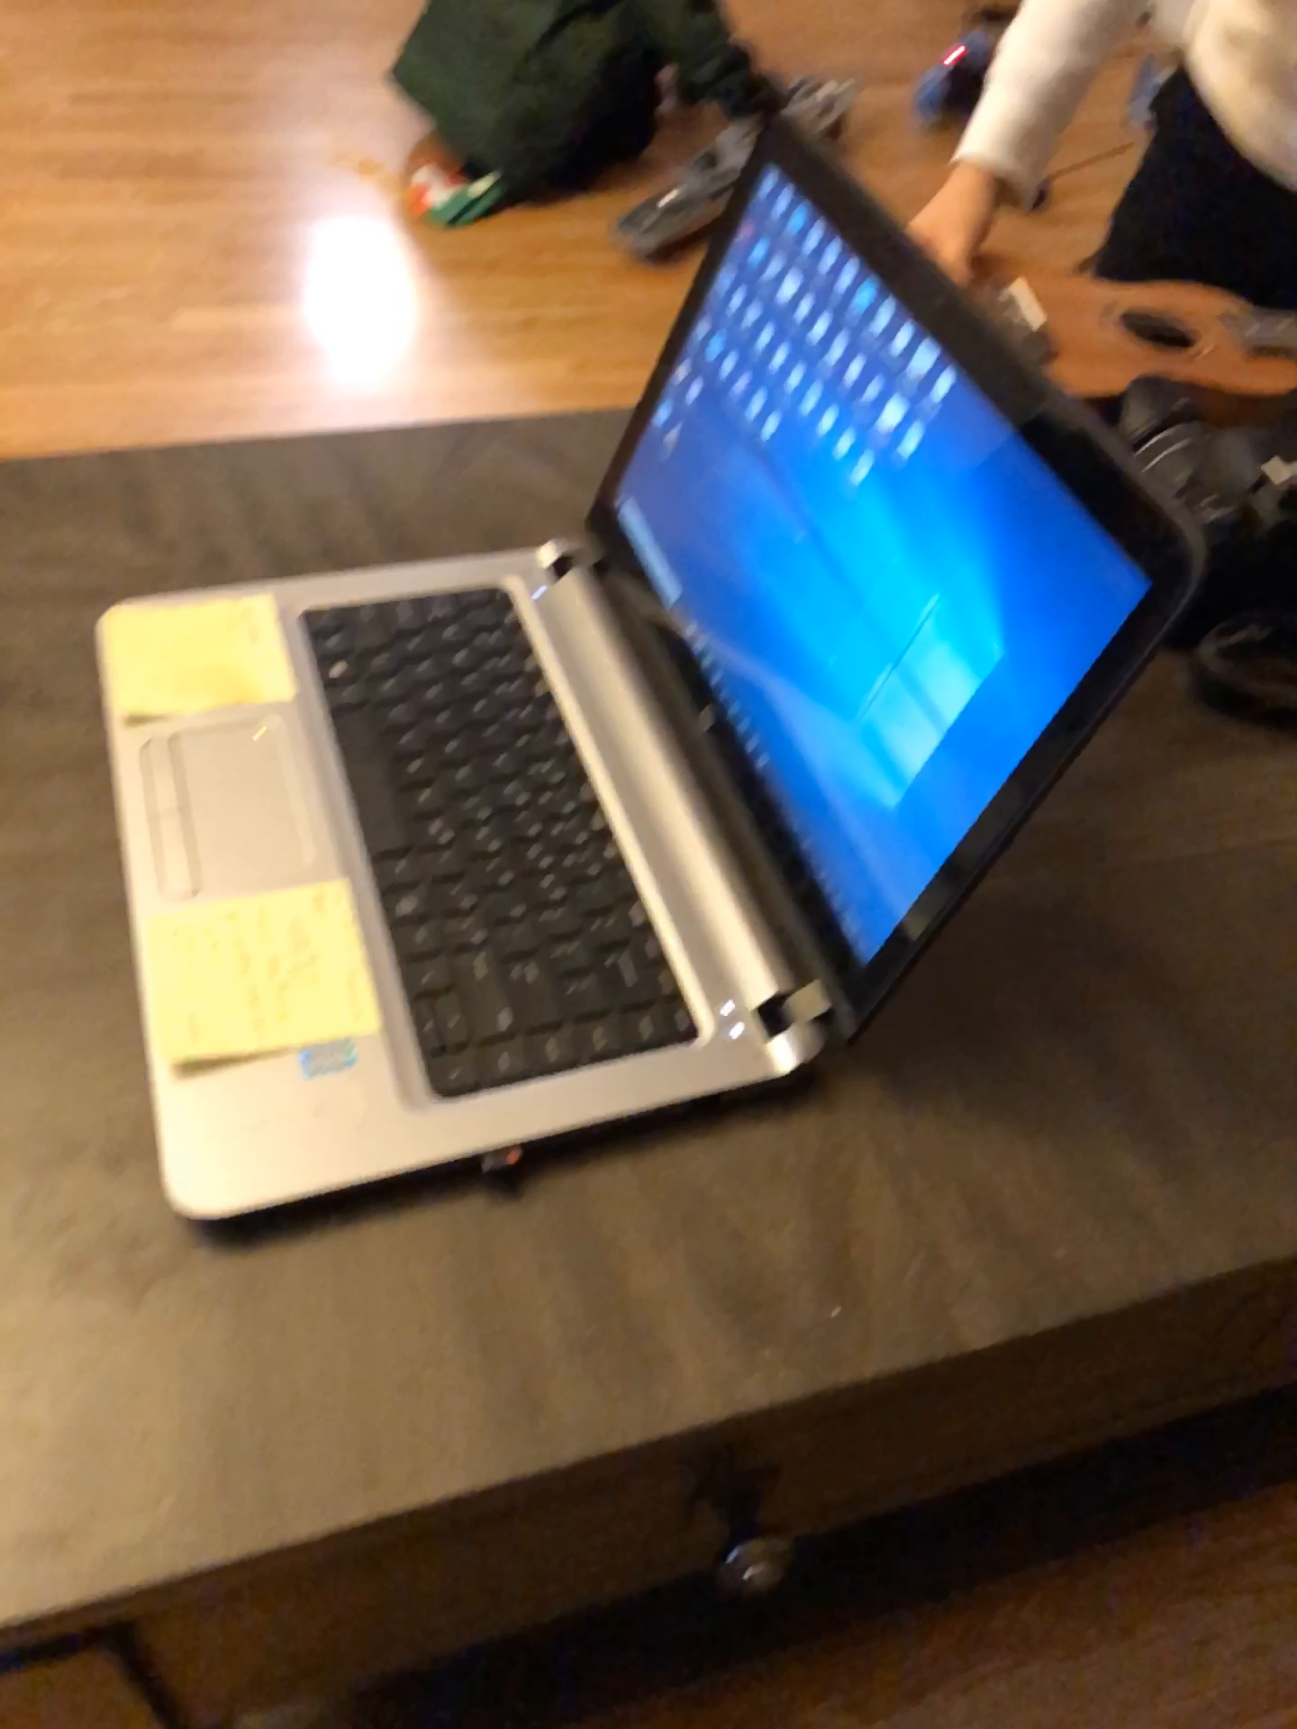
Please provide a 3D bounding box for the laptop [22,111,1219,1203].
[{"bbox_3d":[-0.043,-0.103,0.533,0.306,0.208,0.321,-11,50,-15],"label":"laptop"}]
